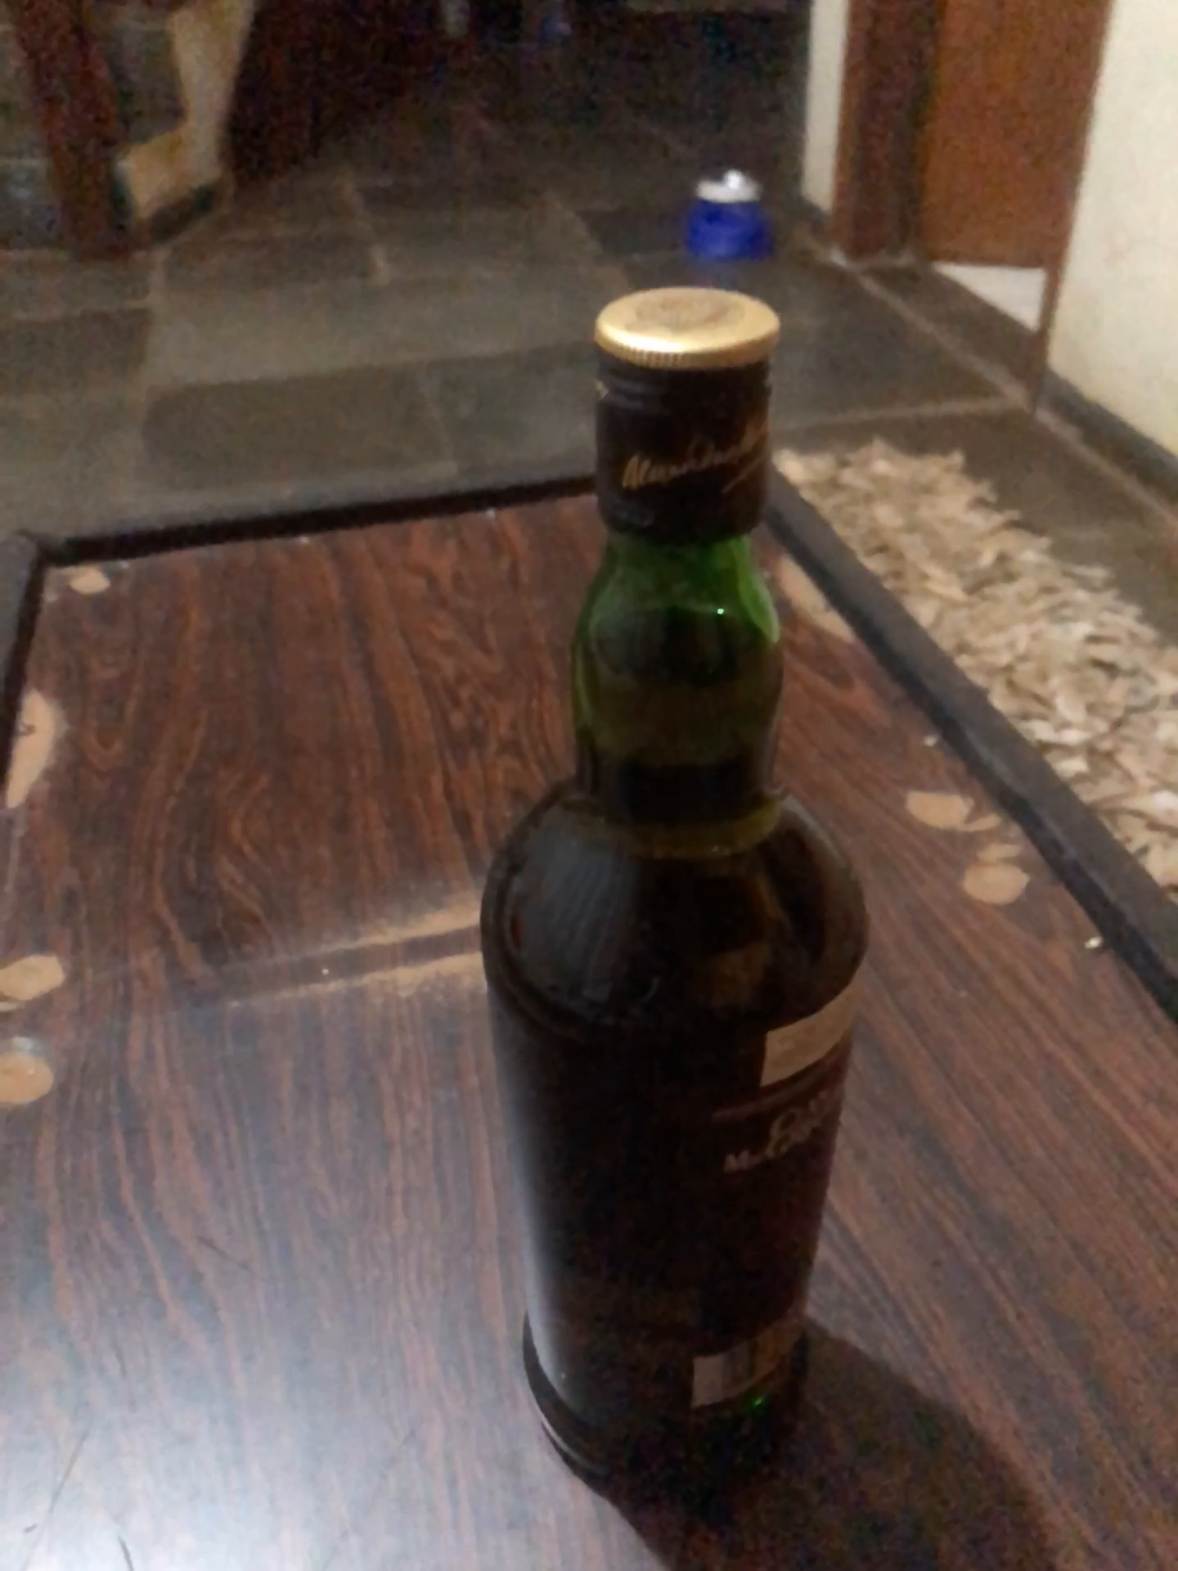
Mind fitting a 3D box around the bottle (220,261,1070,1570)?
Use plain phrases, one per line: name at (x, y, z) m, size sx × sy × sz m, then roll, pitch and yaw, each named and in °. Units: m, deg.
bottle at (0.009, 0.058, 0.306) m, size 0.100 × 0.308 × 0.100 m, roll -1°, pitch 37°, yaw 1°
